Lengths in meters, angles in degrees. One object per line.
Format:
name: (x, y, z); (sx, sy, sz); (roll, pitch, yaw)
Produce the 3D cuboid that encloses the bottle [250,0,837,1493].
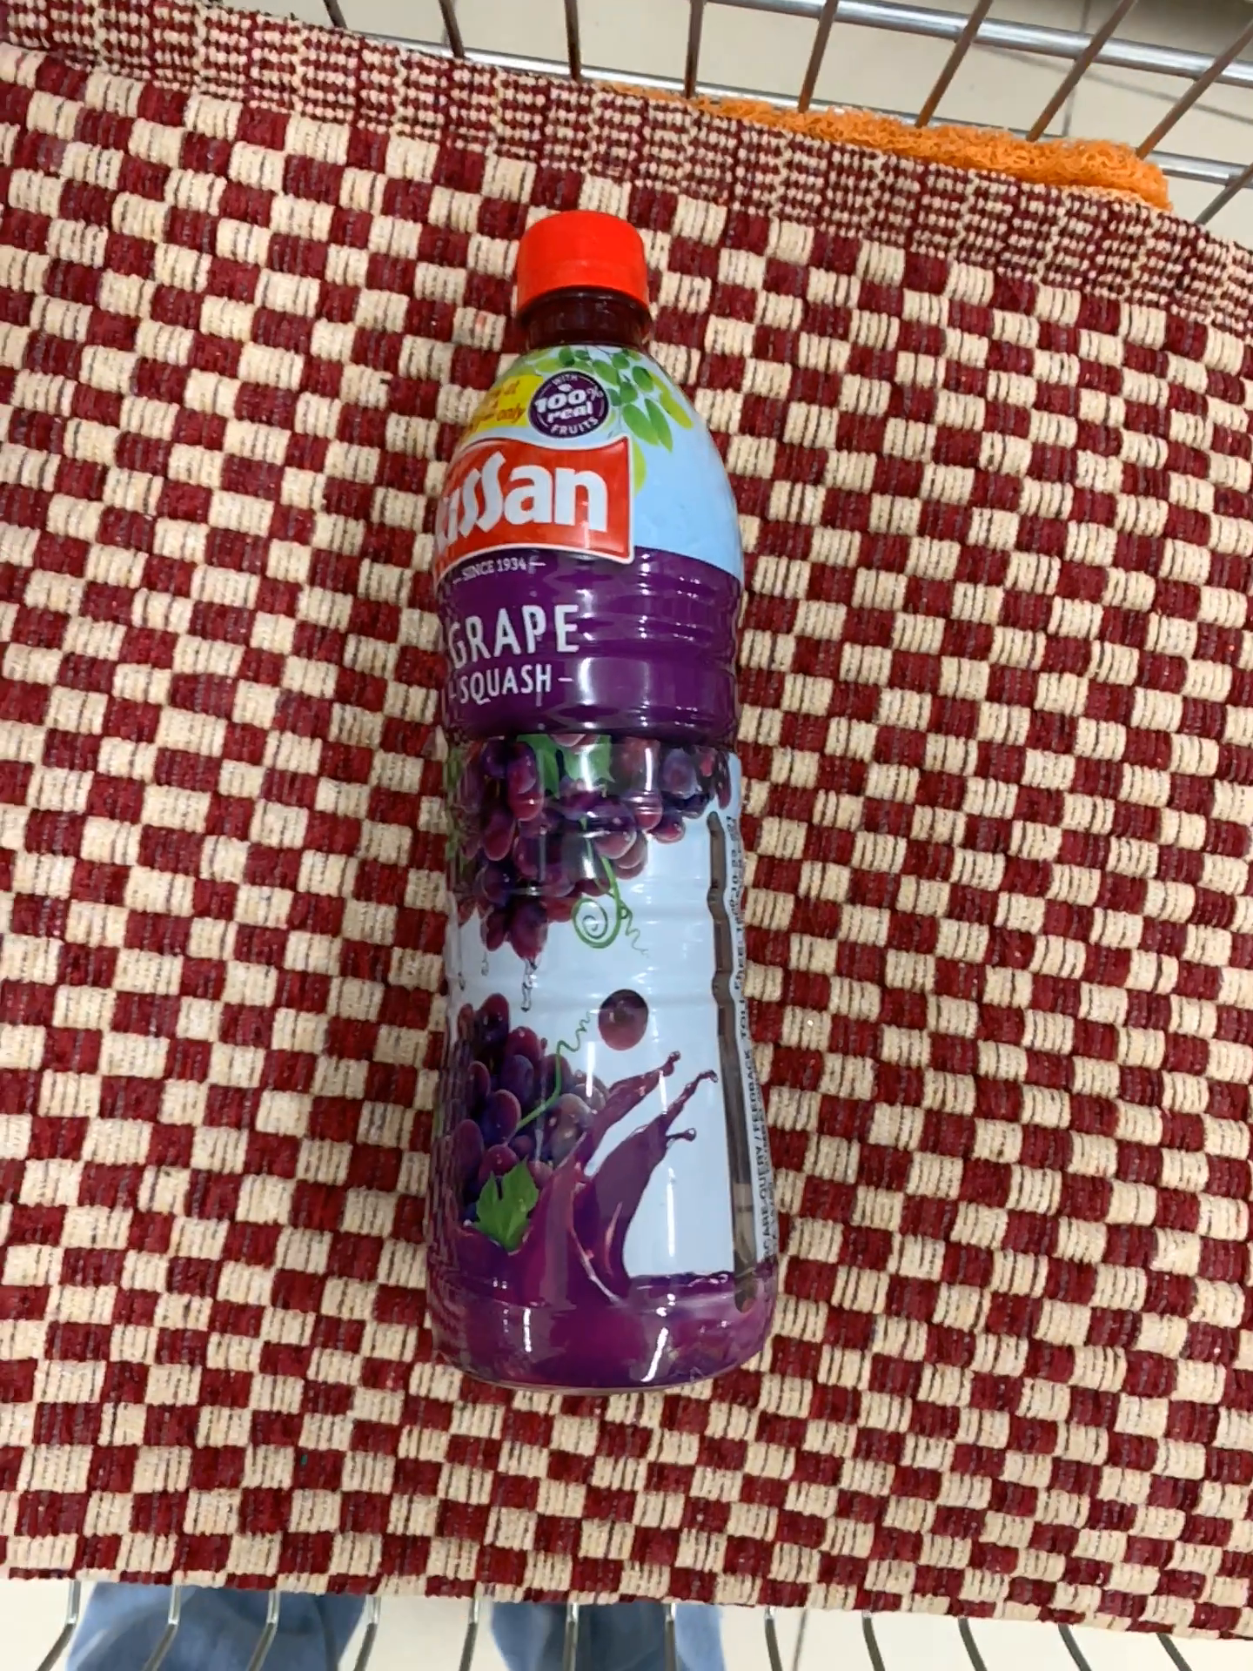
bottle: (-0.013, -0.017, 0.258); (0.080, 0.080, 0.240); (6, 83, -53)
